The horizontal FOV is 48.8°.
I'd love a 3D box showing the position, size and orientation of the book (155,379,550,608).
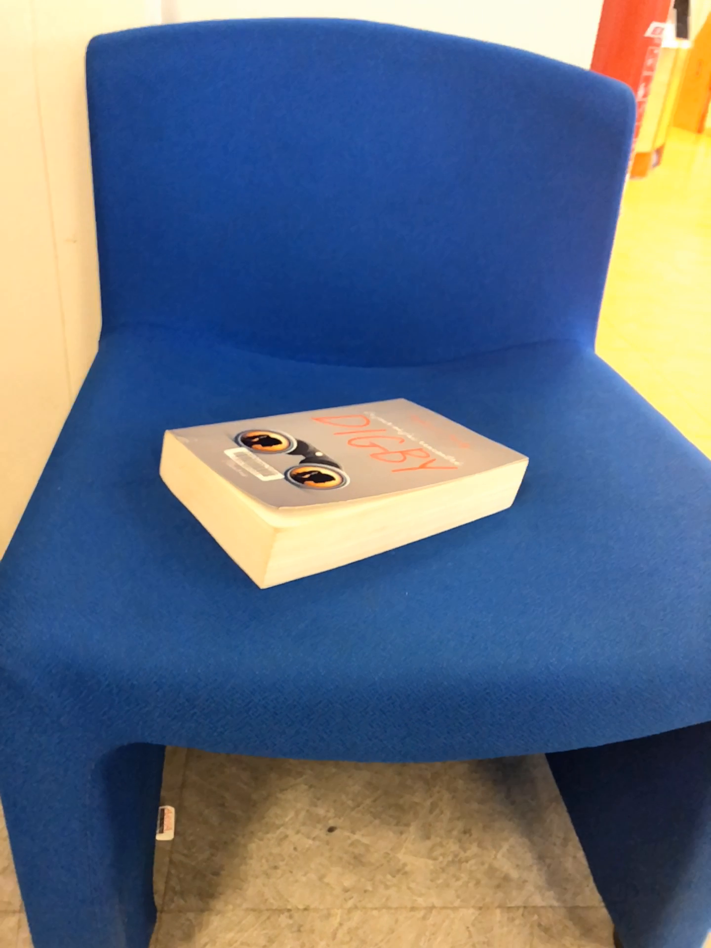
[{"bbox_3d":[-0.003,-0.002,0.526,0.212,0.056,0.151,-11,33,-36],"label":"book"}]
